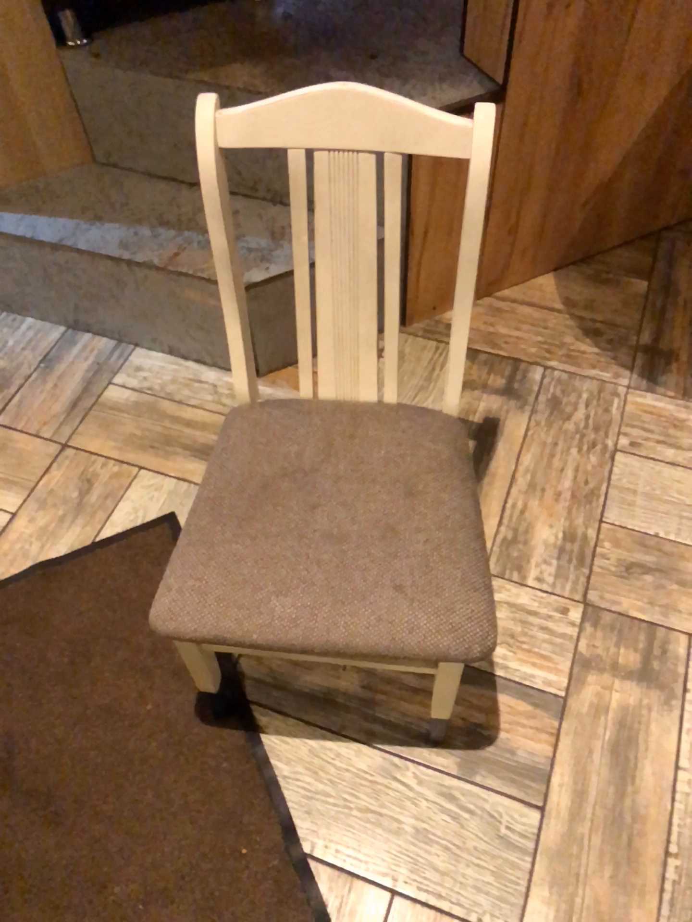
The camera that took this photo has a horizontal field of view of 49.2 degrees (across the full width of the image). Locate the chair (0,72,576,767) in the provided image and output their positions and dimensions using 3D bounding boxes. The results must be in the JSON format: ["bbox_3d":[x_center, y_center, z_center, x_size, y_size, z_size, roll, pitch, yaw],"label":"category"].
[{"bbox_3d":[-0.024,0.024,1.112,0.478,0.917,0.521,4,53,5],"label":"chair"}]
